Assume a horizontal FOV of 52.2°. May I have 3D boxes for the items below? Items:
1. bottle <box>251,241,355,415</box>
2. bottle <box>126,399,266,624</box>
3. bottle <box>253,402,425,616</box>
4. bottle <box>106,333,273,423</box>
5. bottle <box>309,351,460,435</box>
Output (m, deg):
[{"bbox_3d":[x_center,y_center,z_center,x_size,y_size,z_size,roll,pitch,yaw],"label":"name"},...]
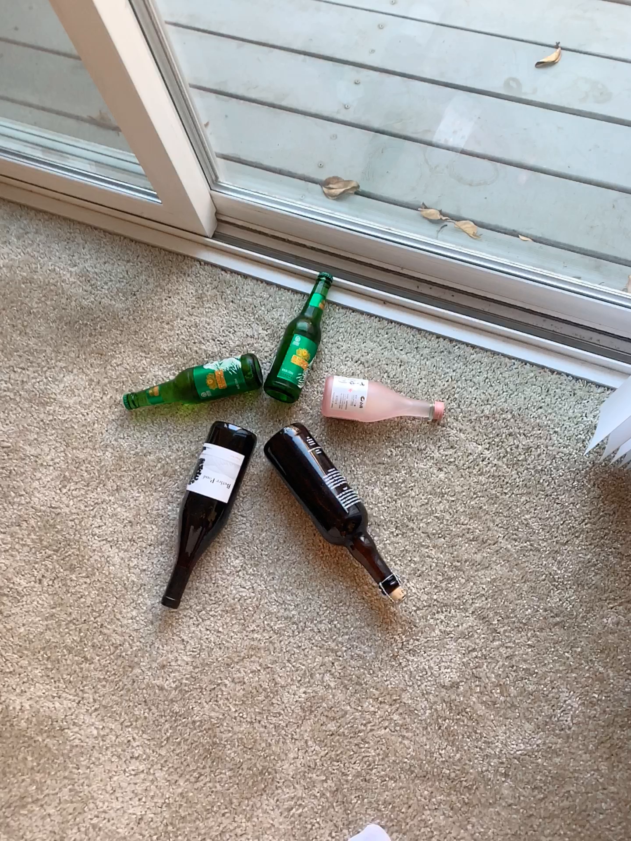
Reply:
[{"bbox_3d":[-0.015,-0.147,1.033,0.080,0.090,0.250,16,78,12],"label":"bottle"},{"bbox_3d":[-0.169,0.133,0.959,0.080,0.090,0.310,15,73,11],"label":"bottle"},{"bbox_3d":[0.032,0.127,0.944,0.080,0.090,0.311,-35,69,-4],"label":"bottle"},{"bbox_3d":[-0.197,-0.065,1.024,0.240,0.090,0.070,-11,72,1],"label":"bottle"},{"bbox_3d":[0.106,-0.041,0.980,0.210,0.090,0.080,7,74,12],"label":"bottle"}]
